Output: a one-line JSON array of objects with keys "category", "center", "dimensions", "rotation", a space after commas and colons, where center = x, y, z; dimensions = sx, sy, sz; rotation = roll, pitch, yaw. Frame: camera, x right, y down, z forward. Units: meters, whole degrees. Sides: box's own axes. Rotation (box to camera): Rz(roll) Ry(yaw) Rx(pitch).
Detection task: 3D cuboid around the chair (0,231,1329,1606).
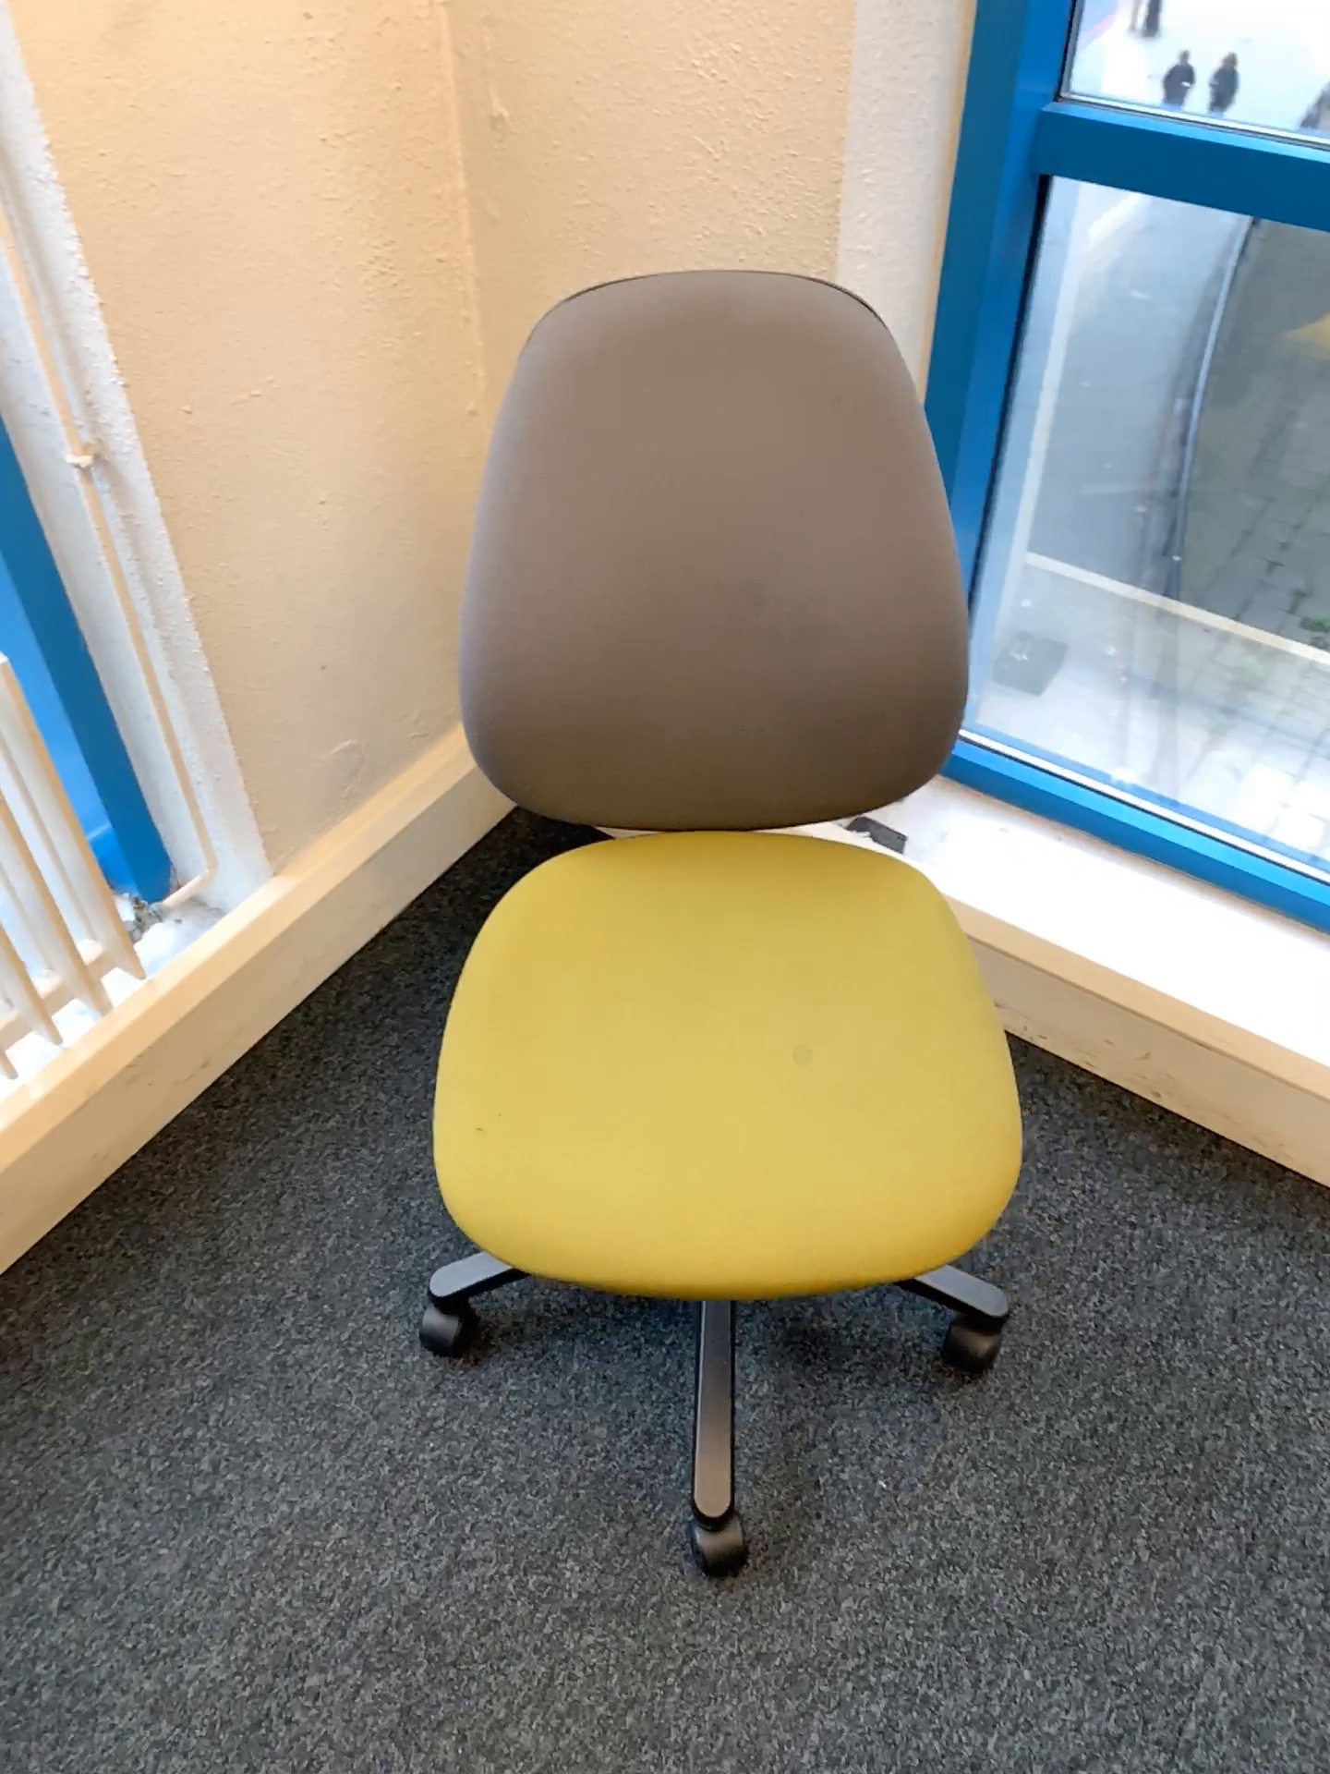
[{"category": "chair", "center": [0.045, 0.060, 1.107], "dimensions": [0.692, 0.877, 0.684], "rotation": [-1, 45, -1]}]
